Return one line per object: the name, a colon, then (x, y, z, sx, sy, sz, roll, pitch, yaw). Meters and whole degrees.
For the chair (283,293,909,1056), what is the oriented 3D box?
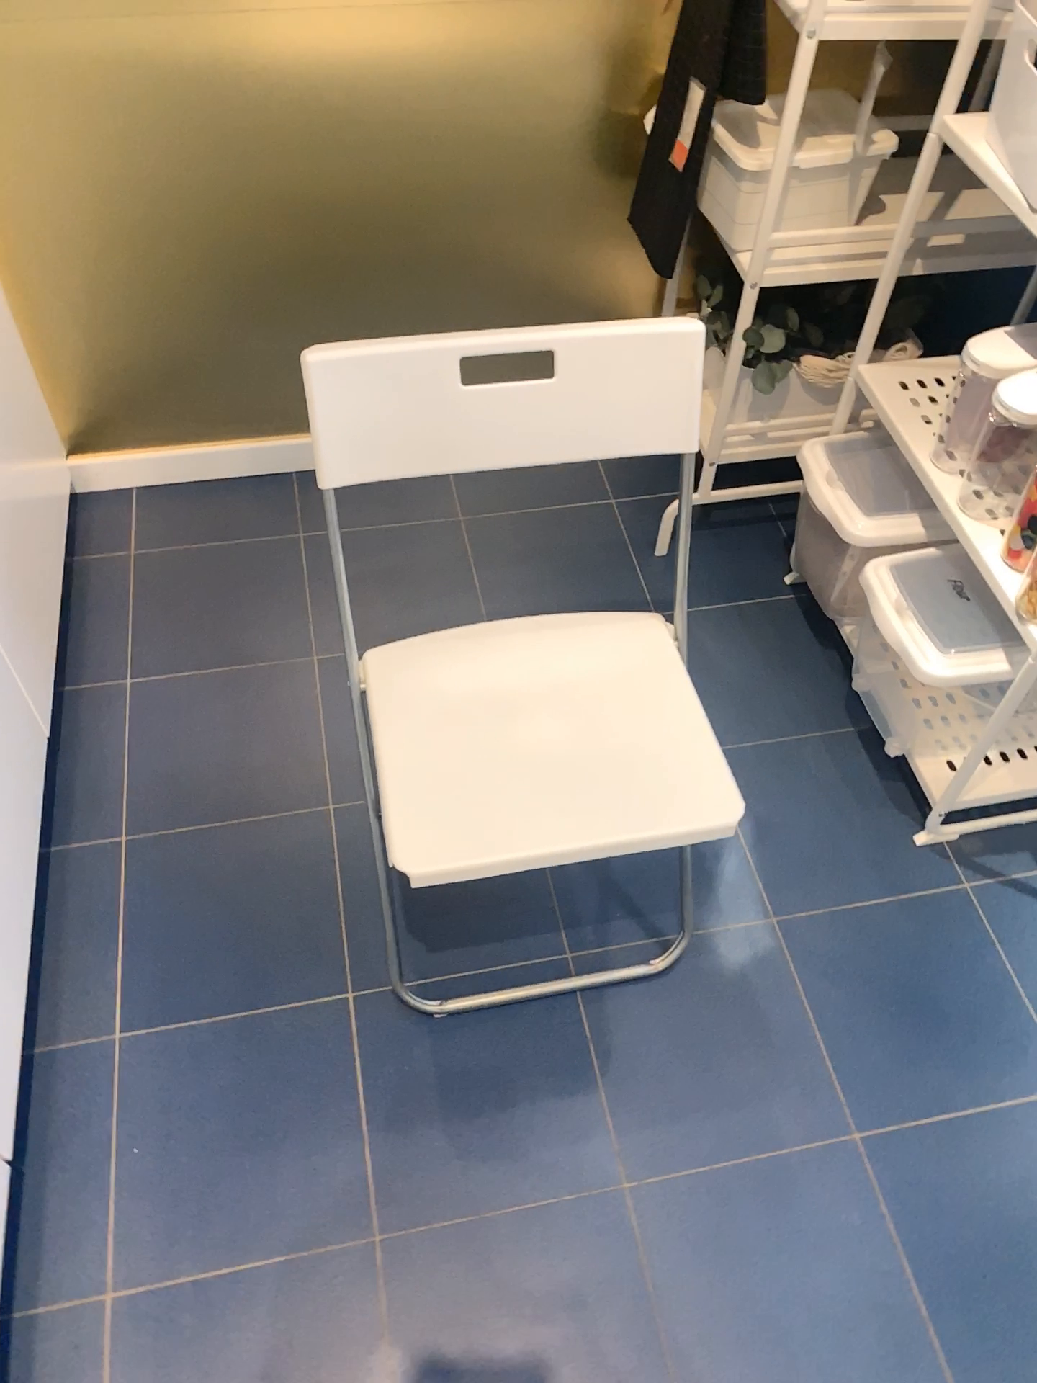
chair: (0.024, 0.028, 1.182, 0.440, 0.748, 0.421, -8, 52, -9)
